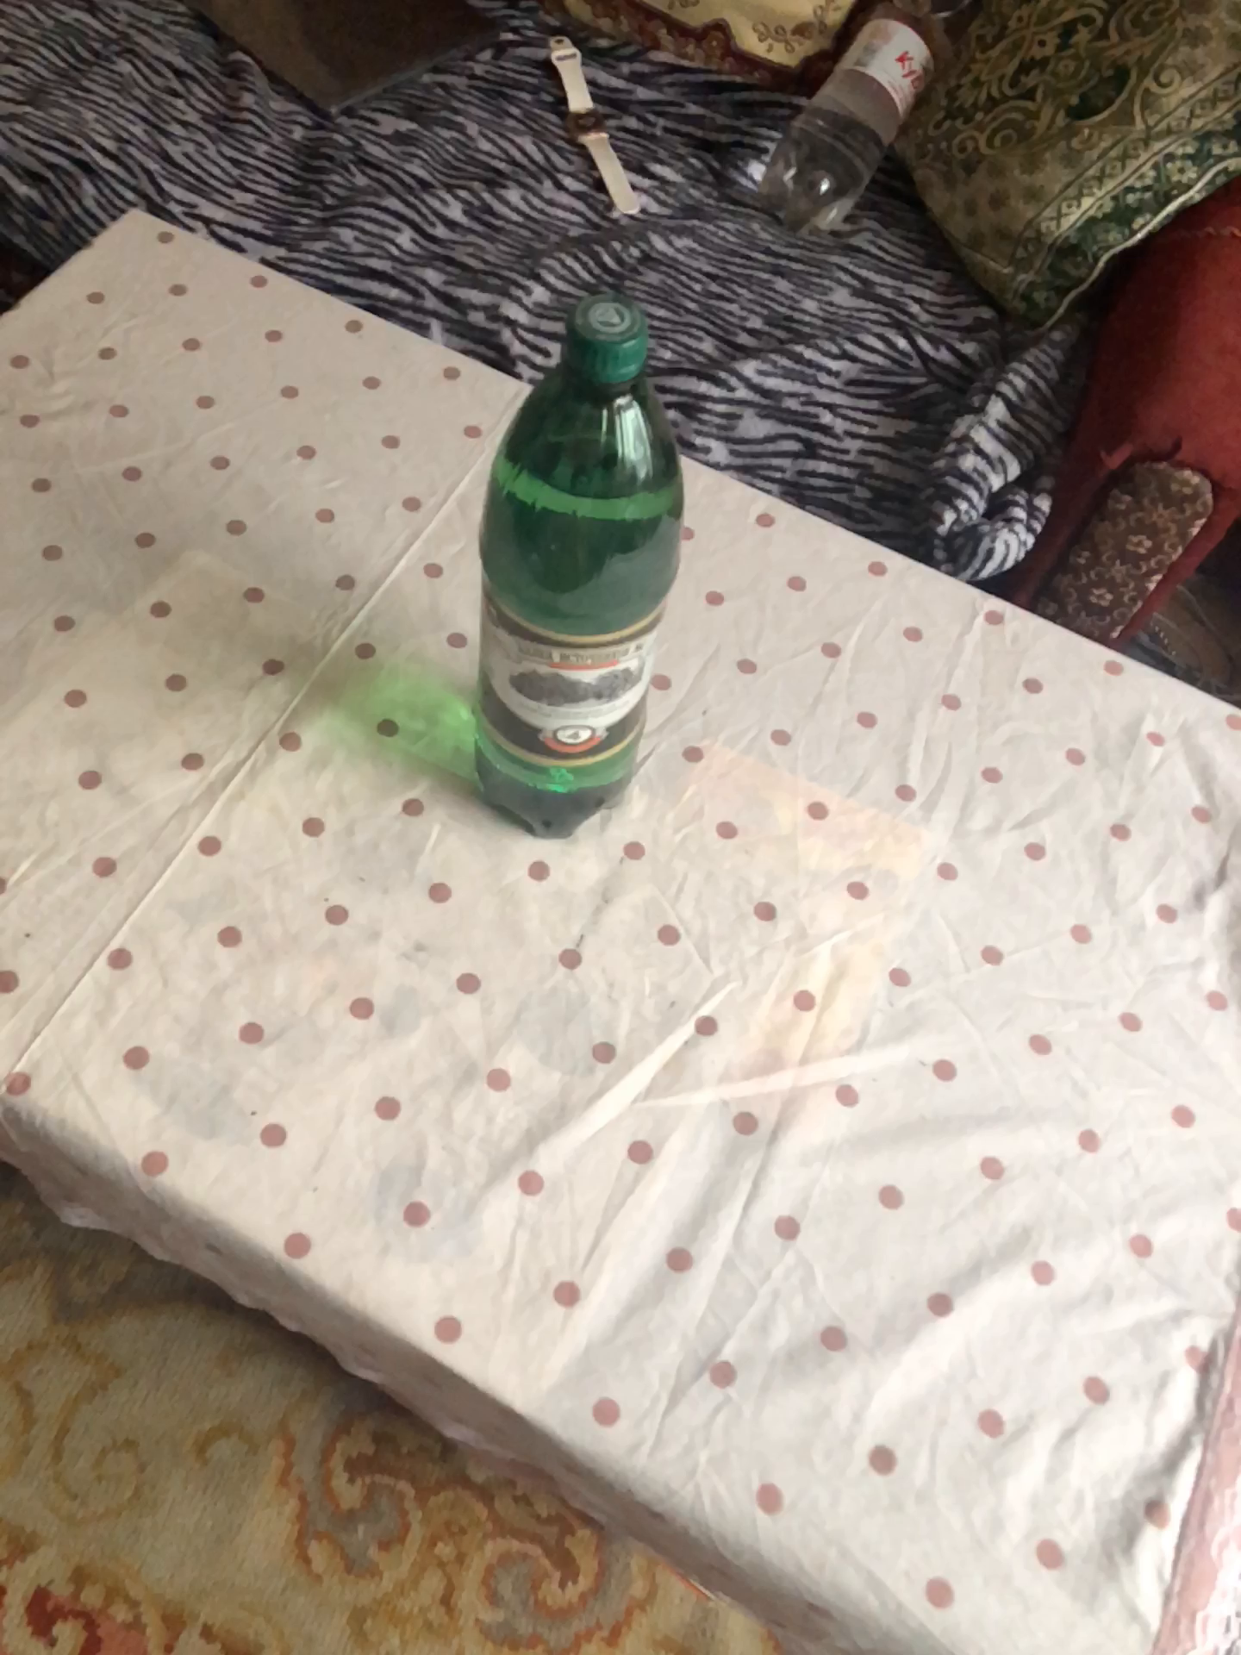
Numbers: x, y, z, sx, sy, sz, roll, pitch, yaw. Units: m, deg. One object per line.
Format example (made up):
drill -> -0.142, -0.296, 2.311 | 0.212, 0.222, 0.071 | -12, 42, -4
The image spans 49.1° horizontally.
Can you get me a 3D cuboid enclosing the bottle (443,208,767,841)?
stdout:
bottle -> -0.023, -0.109, 0.586 | 0.100, 0.279, 0.100 | 3, 59, -6
